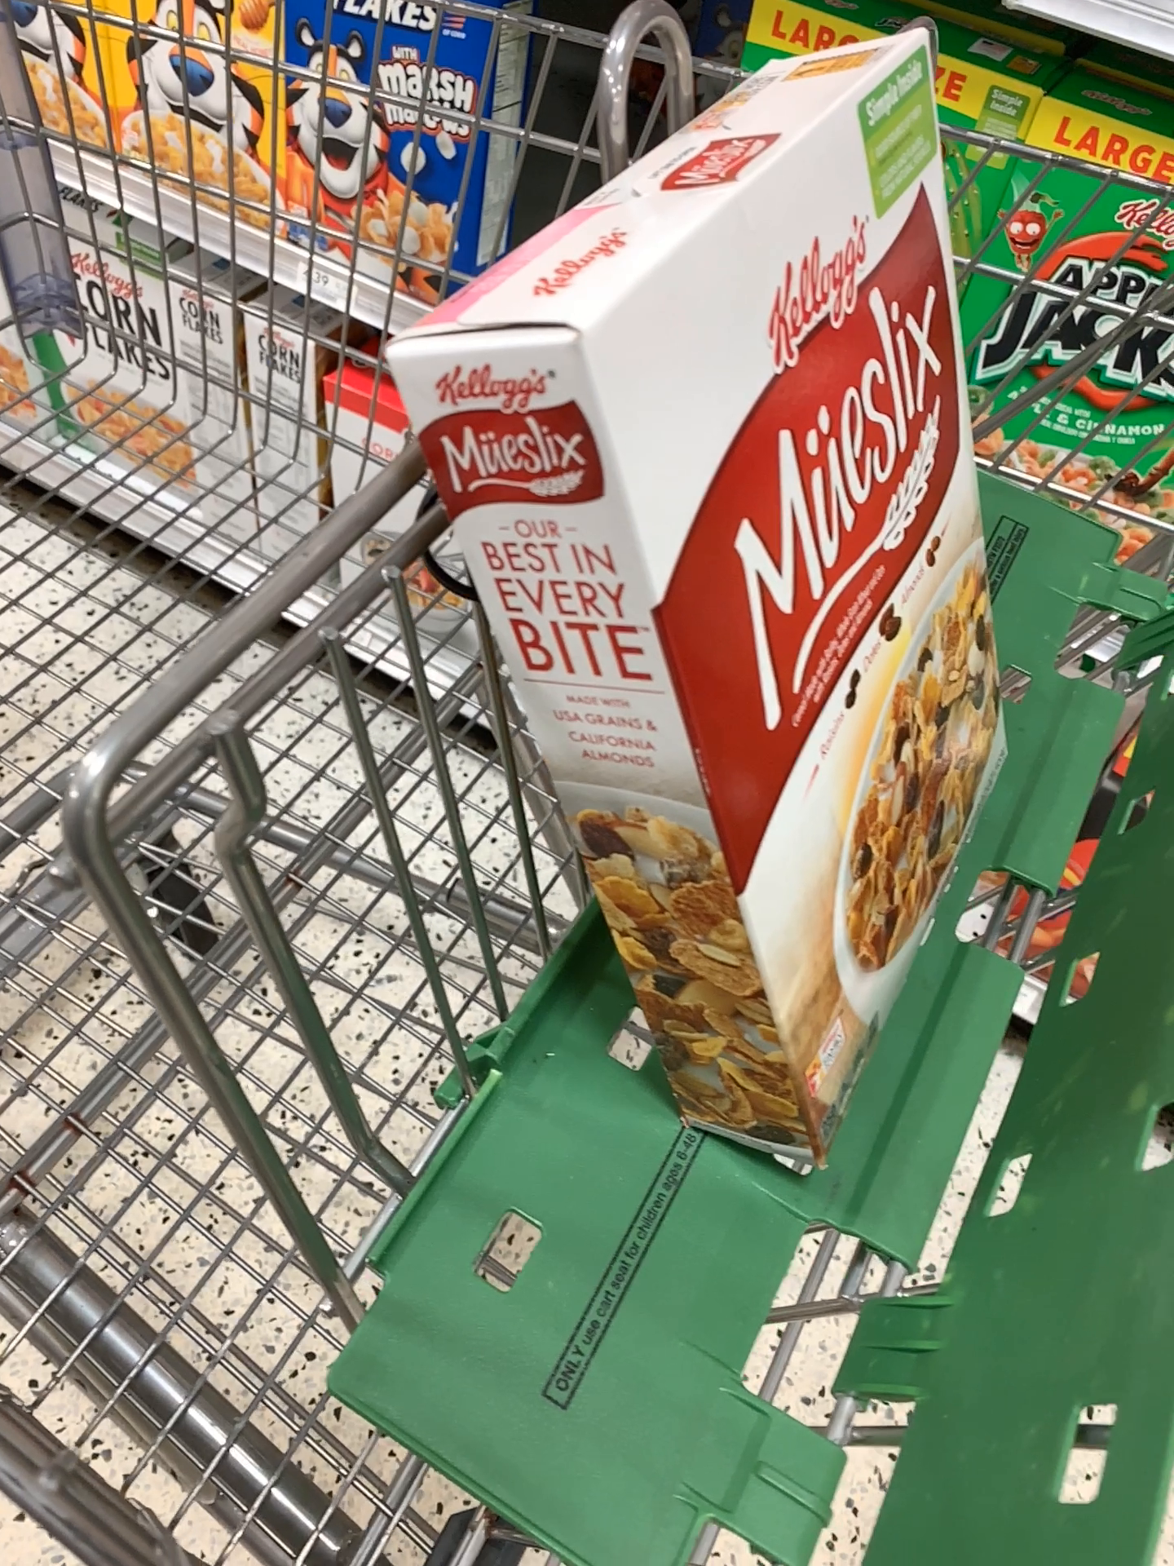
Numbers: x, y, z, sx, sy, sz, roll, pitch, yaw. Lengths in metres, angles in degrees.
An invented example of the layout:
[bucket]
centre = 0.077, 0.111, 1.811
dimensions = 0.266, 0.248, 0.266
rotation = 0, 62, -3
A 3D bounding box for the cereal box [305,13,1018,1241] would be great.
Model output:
[cereal box]
centre = 0.058, -0.037, 0.348
dimensions = 0.060, 0.268, 0.202
rotation = 8, 45, 33
